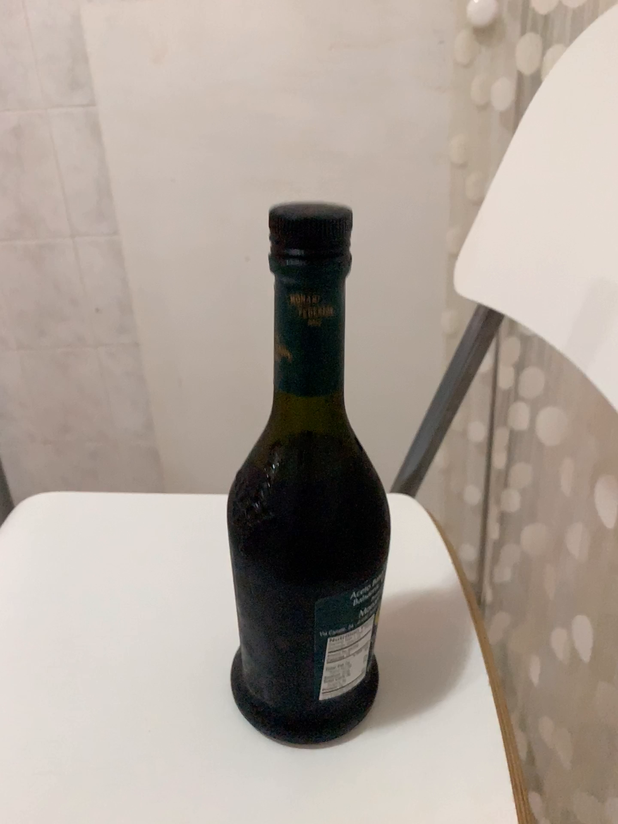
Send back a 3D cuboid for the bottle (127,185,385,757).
[{"bbox_3d":[-0.006,0.032,0.292,0.080,0.243,0.090,0,27,7],"label":"bottle"}]
